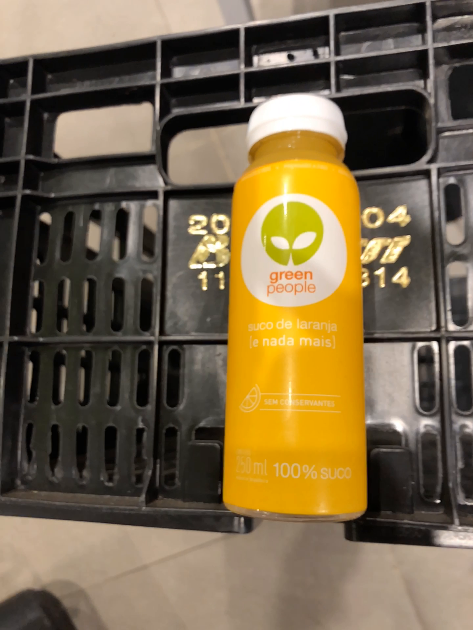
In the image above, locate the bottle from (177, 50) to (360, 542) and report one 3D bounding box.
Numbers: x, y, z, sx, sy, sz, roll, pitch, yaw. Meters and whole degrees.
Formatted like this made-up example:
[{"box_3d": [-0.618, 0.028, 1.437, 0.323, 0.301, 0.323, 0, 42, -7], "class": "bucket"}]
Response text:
[{"box_3d": [0.017, -0.009, 0.220, 0.060, 0.050, 0.180, -2, 77, 14], "class": "bottle"}]
